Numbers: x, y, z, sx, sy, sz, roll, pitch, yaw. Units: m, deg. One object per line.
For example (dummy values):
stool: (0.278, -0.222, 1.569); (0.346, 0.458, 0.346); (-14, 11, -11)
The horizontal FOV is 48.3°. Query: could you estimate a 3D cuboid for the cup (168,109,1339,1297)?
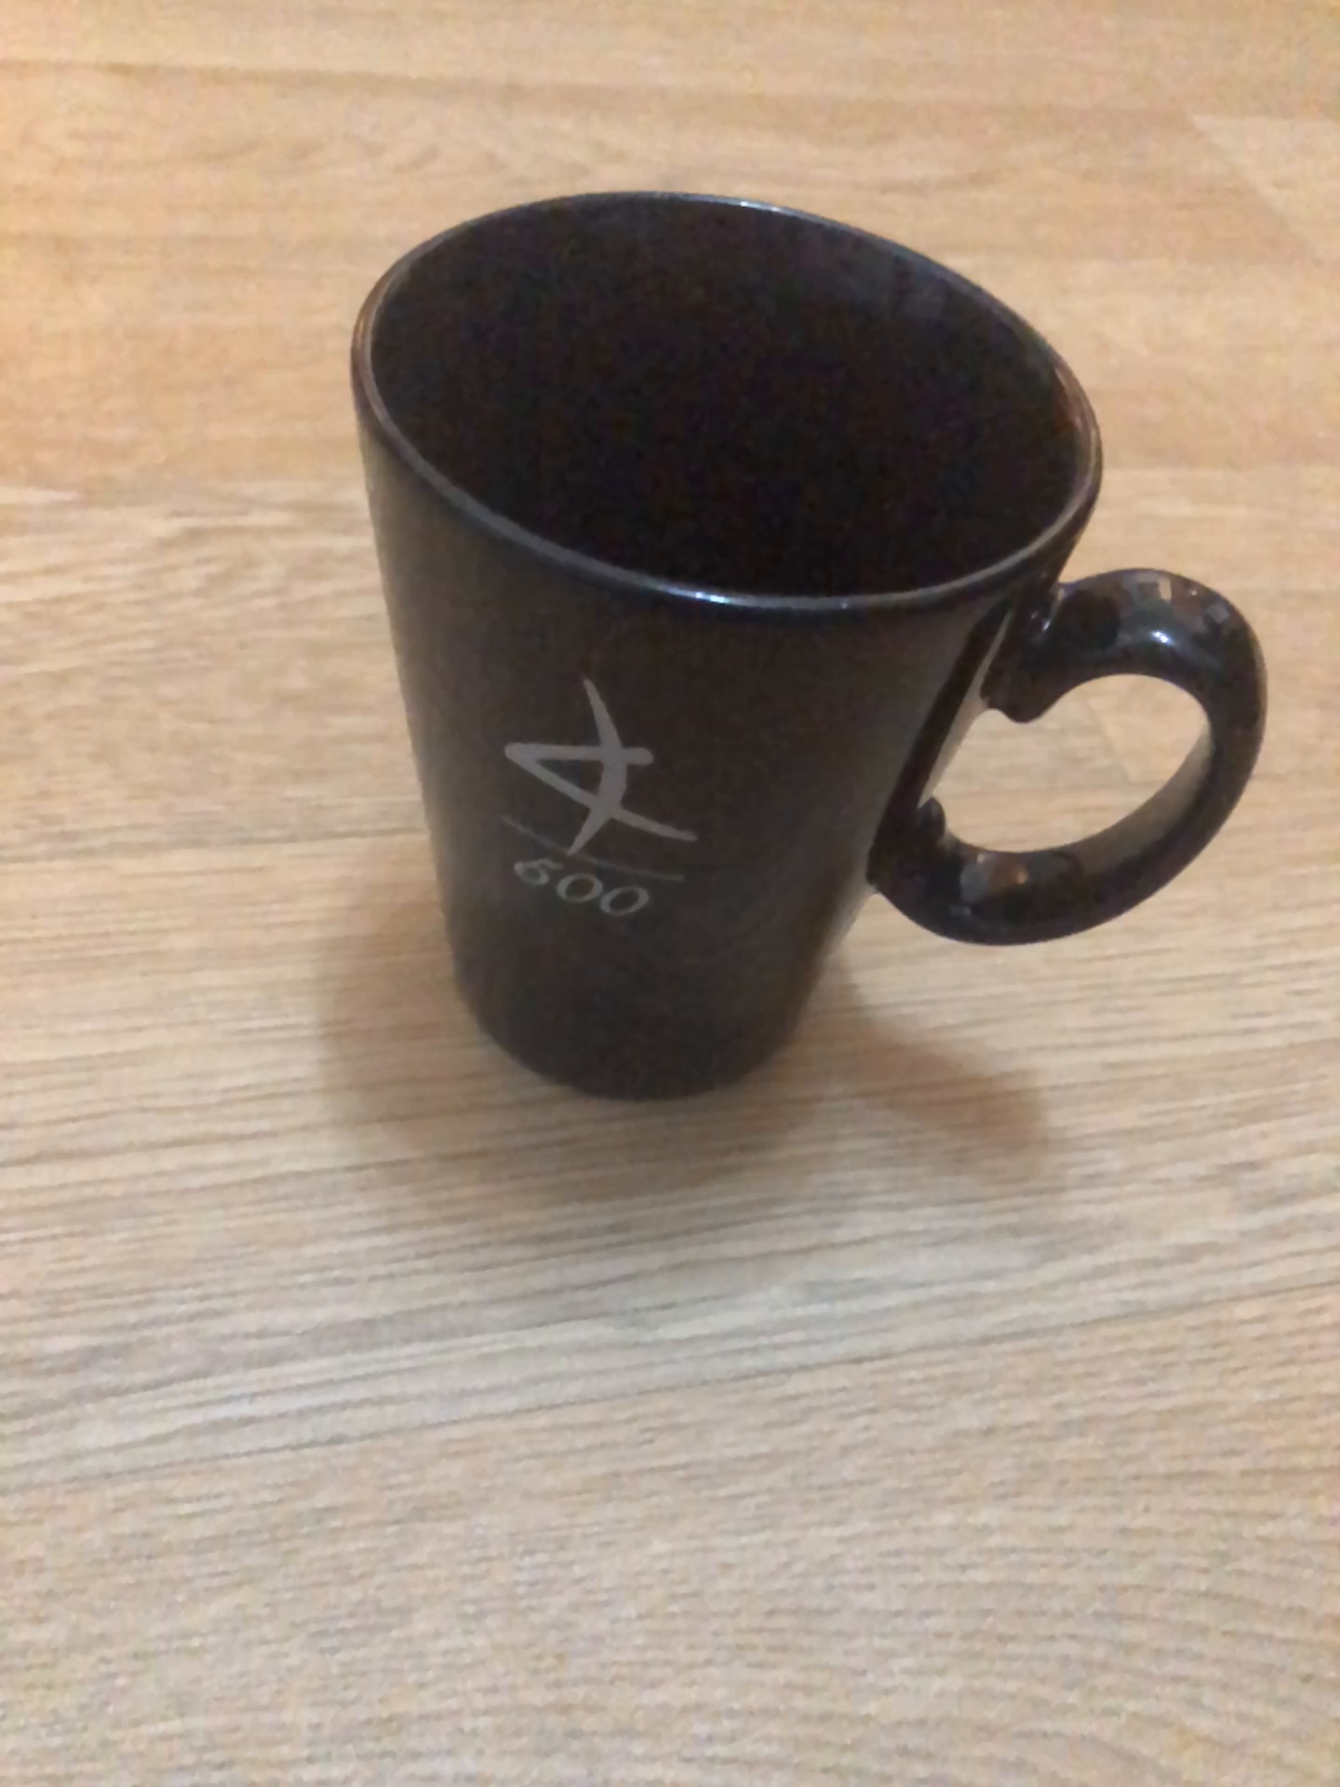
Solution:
cup: (0.017, -0.027, 0.200); (0.120, 0.089, 0.091); (19, 49, 8)
